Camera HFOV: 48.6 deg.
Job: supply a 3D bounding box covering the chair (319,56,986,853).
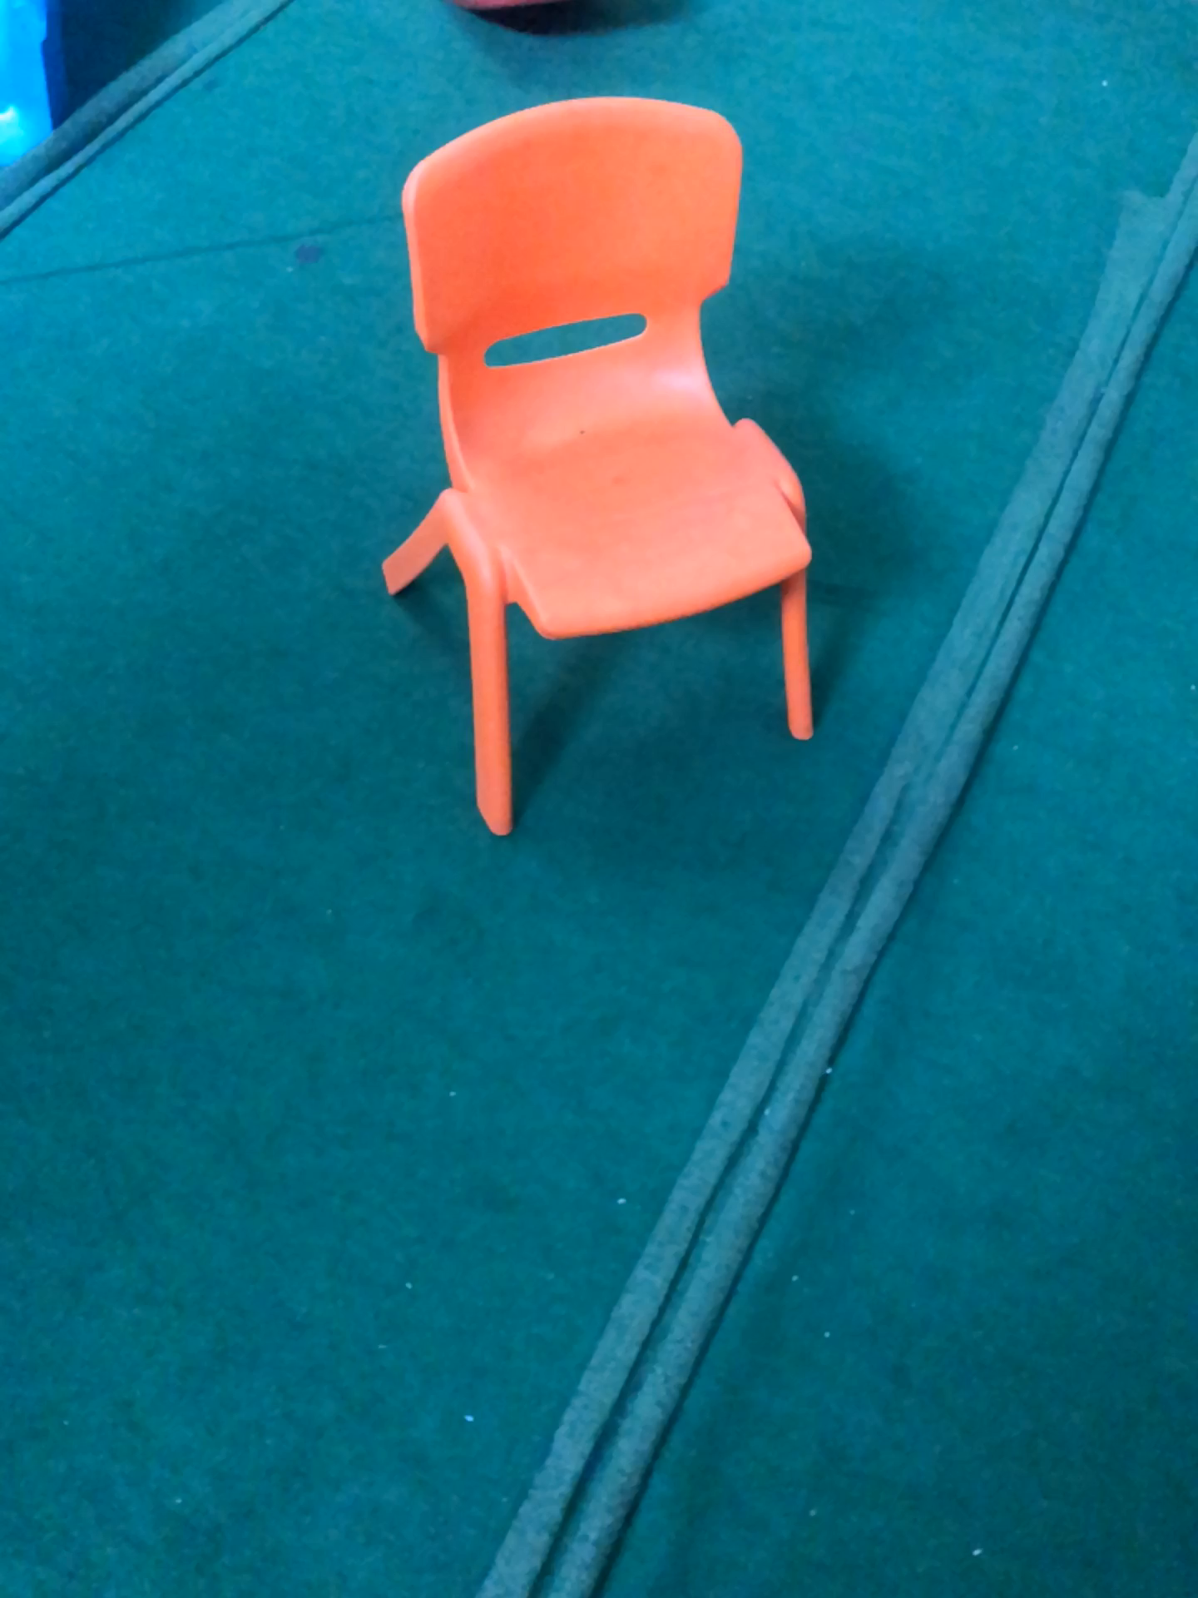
[{"bbox_3d":[0.007,-0.285,1.164,0.360,0.479,0.391,-17,60,-16],"label":"chair"}]
